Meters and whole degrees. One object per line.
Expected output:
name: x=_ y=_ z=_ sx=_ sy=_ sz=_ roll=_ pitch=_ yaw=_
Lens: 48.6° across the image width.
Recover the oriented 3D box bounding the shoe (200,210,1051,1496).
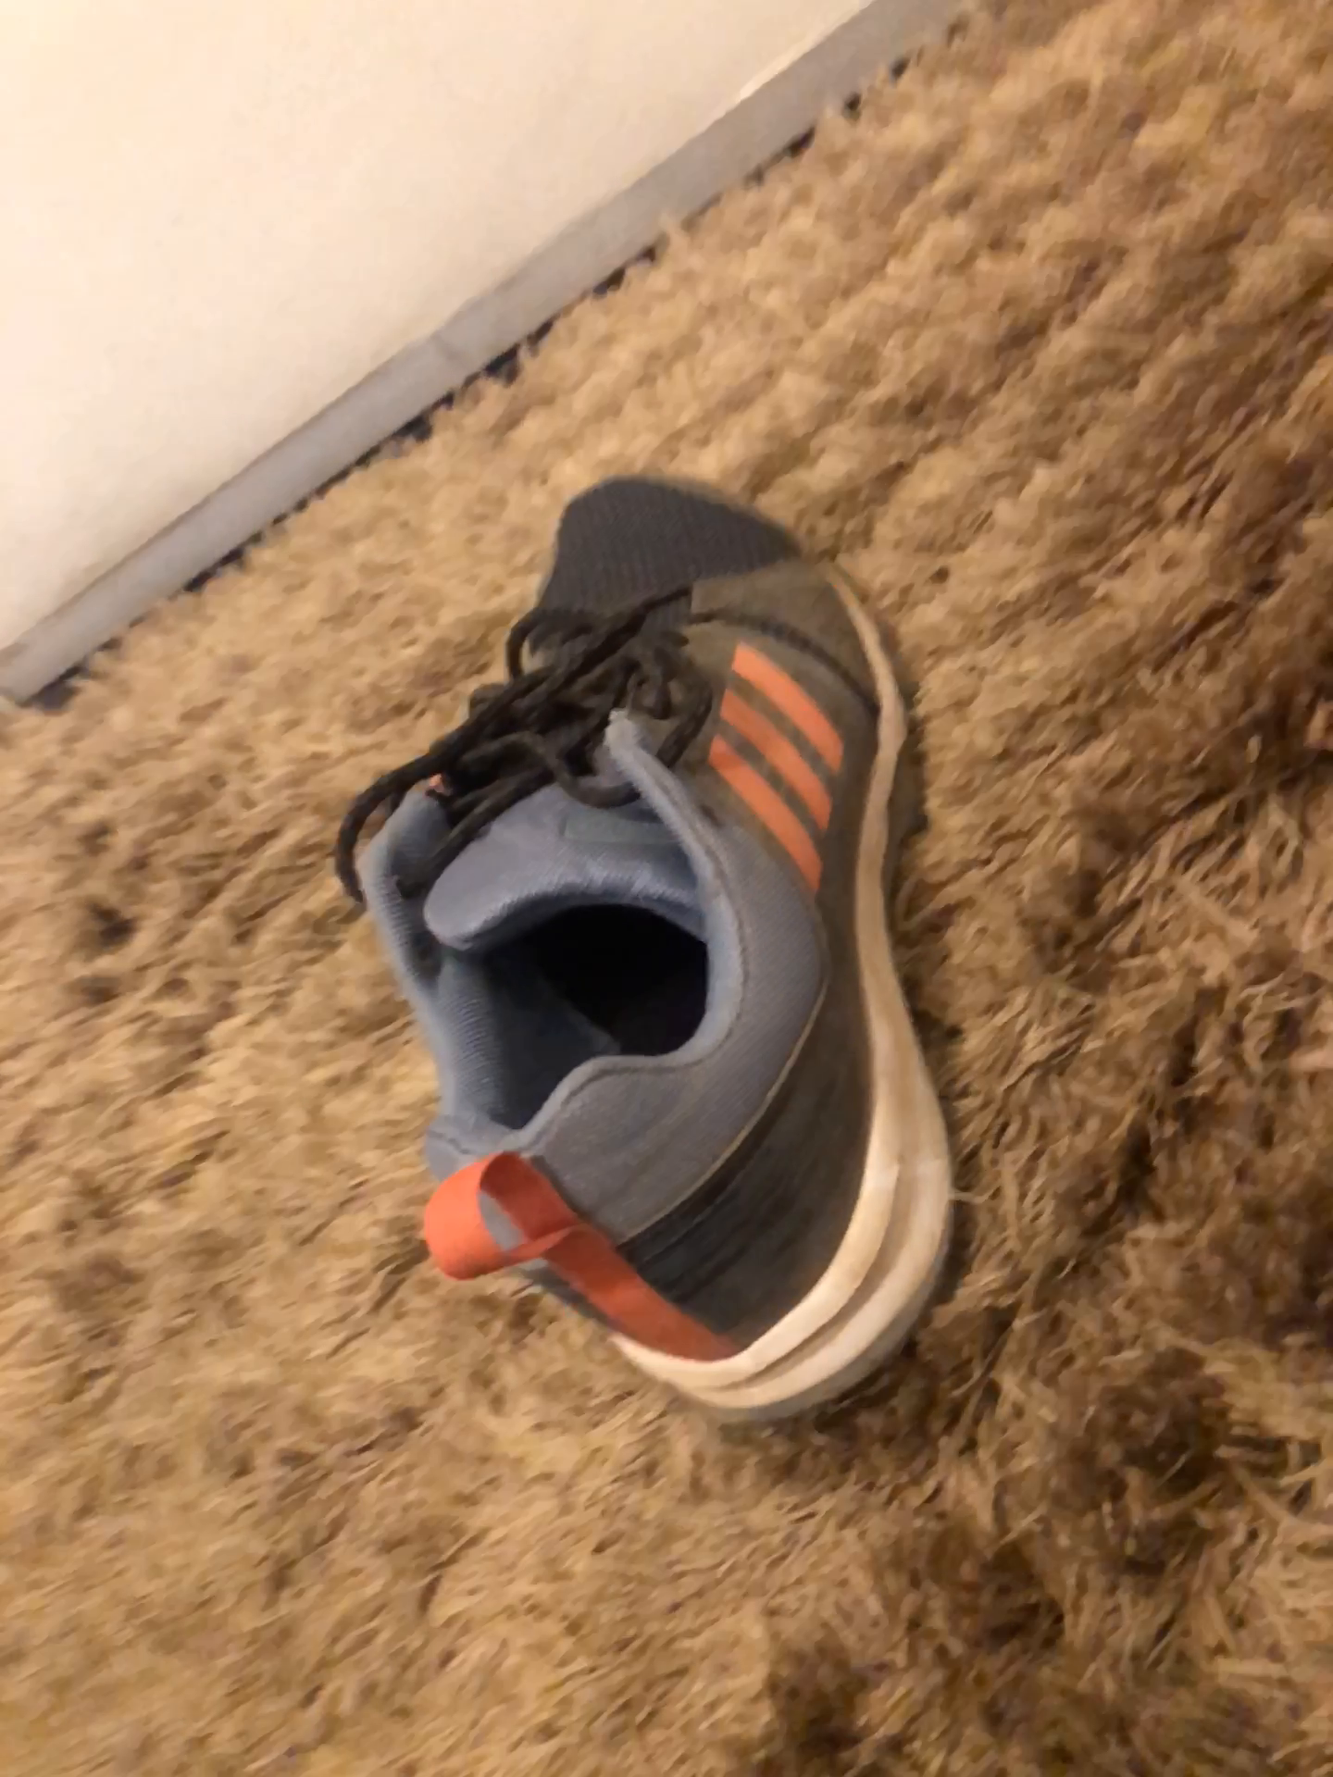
shoe: x=-0.011 y=-0.020 z=0.356 sx=0.113 sy=0.109 sz=0.275 roll=-25 pitch=46 yaw=25
